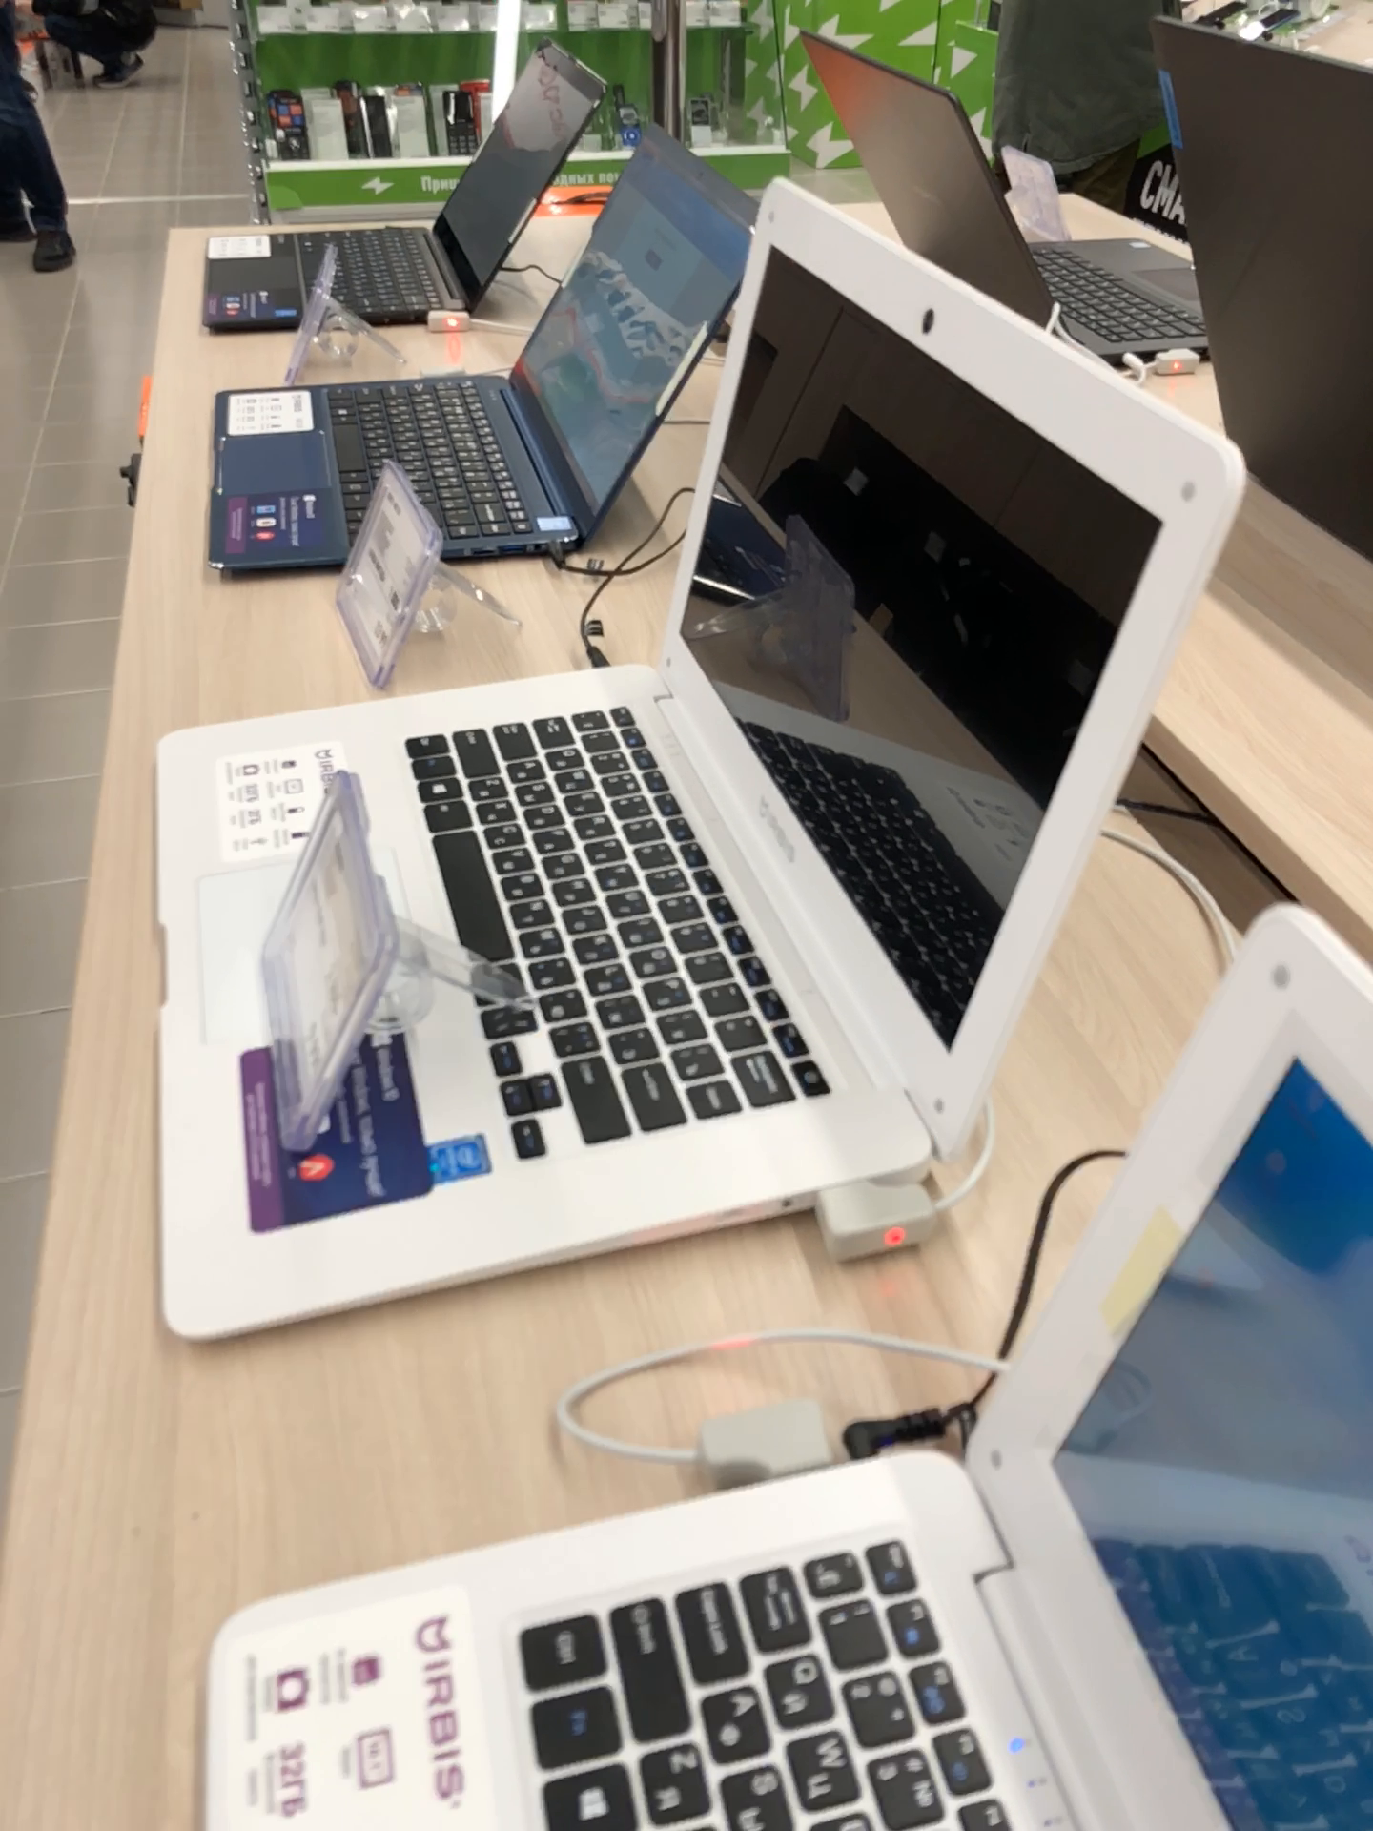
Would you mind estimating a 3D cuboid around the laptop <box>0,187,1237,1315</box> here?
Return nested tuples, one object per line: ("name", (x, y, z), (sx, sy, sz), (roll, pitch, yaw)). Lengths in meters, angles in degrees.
("laptop", (-0.051, -0.094, 0.512), (0.279, 0.207, 0.335), (-10, 37, -12))

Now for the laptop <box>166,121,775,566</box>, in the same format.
("laptop", (-0.139, -0.368, 0.923), (0.310, 0.158, 0.300), (-8, 37, -11))

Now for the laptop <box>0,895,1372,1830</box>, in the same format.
("laptop", (0.033, 0.152, 0.206), (0.221, 0.167, 0.261), (-8, 35, -11))
